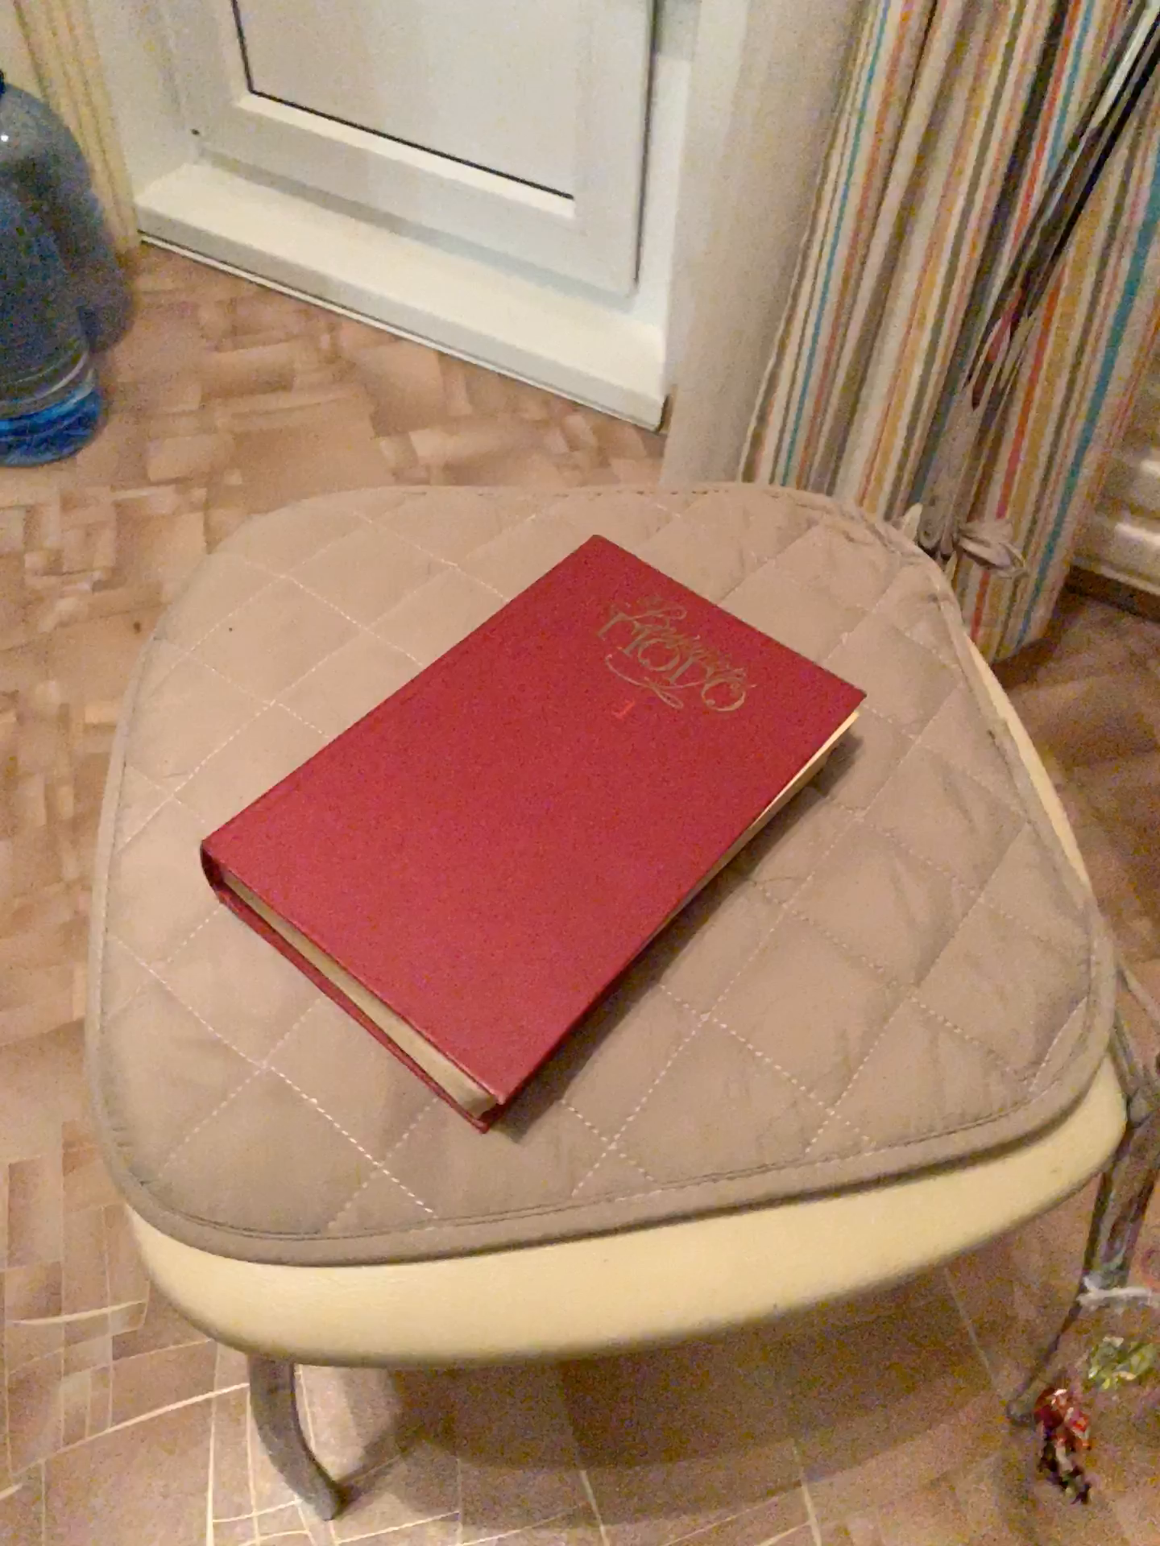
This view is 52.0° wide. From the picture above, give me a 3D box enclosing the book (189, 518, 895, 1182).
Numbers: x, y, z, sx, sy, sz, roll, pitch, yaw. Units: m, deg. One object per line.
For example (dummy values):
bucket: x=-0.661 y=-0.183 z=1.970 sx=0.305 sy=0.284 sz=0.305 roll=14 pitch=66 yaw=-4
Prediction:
book: x=-0.007 y=0.013 z=0.424 sx=0.140 sy=0.060 sz=0.201 roll=35 pitch=59 yaw=22
